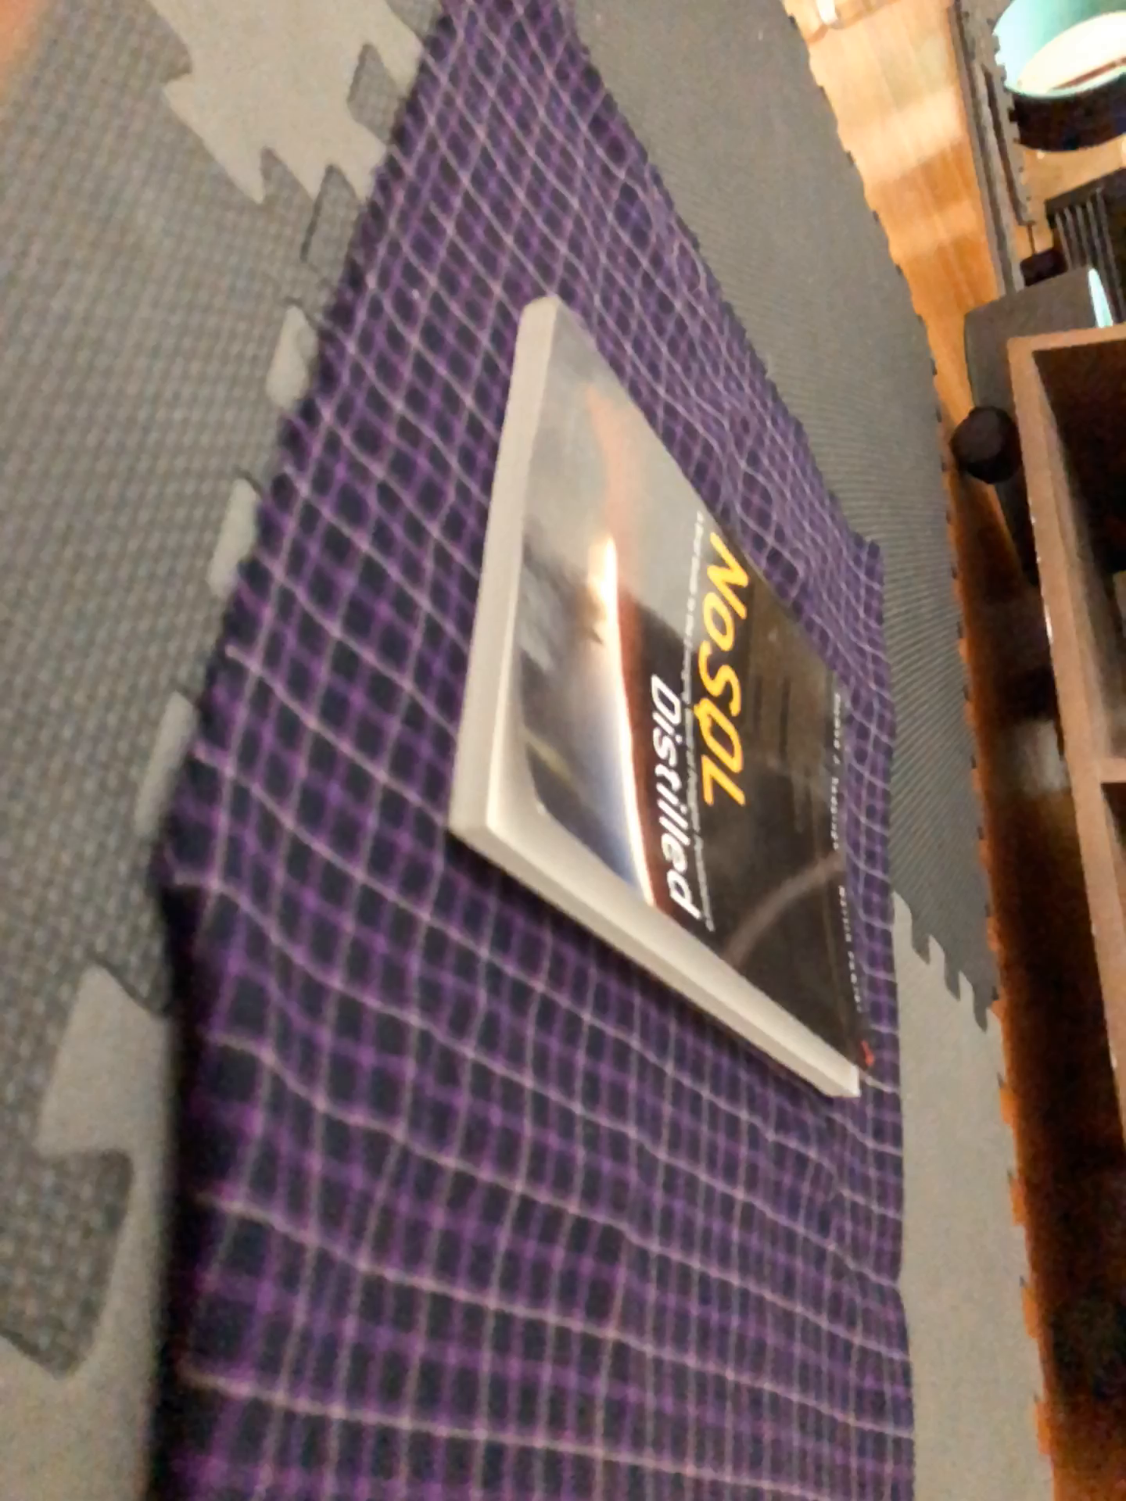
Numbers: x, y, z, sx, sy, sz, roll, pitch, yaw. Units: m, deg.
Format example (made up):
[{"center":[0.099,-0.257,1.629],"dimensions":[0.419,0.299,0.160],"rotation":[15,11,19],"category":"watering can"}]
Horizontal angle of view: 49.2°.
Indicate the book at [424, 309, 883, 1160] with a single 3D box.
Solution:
[{"center":[0.049,0.011,0.411],"dimensions":[0.251,0.020,0.191],"rotation":[42,43,-46],"category":"book"}]
